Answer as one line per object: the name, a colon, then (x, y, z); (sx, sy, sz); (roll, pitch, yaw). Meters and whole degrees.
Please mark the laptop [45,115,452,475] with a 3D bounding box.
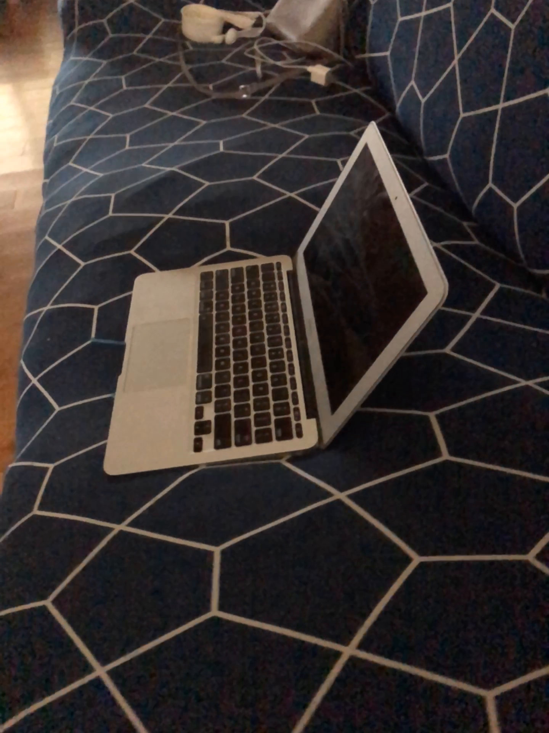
laptop: (-0.022, -0.079, 0.564); (0.279, 0.156, 0.283); (-6, 45, 1)
